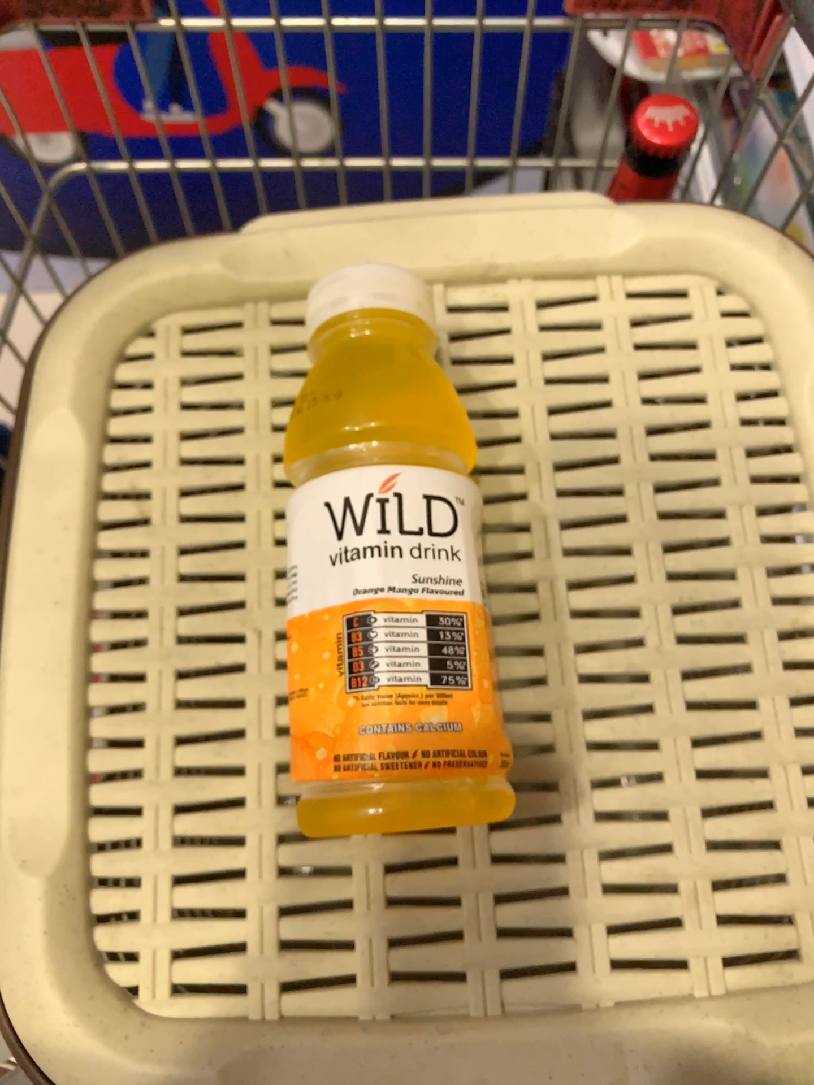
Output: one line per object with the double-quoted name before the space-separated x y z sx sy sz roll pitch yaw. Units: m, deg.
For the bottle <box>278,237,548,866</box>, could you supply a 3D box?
"bottle" -0.005 0.002 0.257 0.060 0.060 0.170 0 74 -12
